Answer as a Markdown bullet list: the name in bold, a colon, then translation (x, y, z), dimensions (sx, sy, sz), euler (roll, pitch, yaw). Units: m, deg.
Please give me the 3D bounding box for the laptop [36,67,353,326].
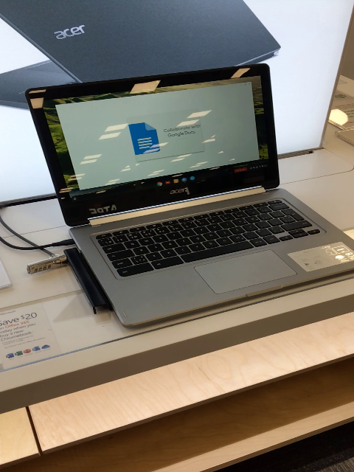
- **laptop**: translation (0.045, -0.074, 0.611), dimensions (0.347, 0.189, 0.284), euler (-15, 42, -17)
